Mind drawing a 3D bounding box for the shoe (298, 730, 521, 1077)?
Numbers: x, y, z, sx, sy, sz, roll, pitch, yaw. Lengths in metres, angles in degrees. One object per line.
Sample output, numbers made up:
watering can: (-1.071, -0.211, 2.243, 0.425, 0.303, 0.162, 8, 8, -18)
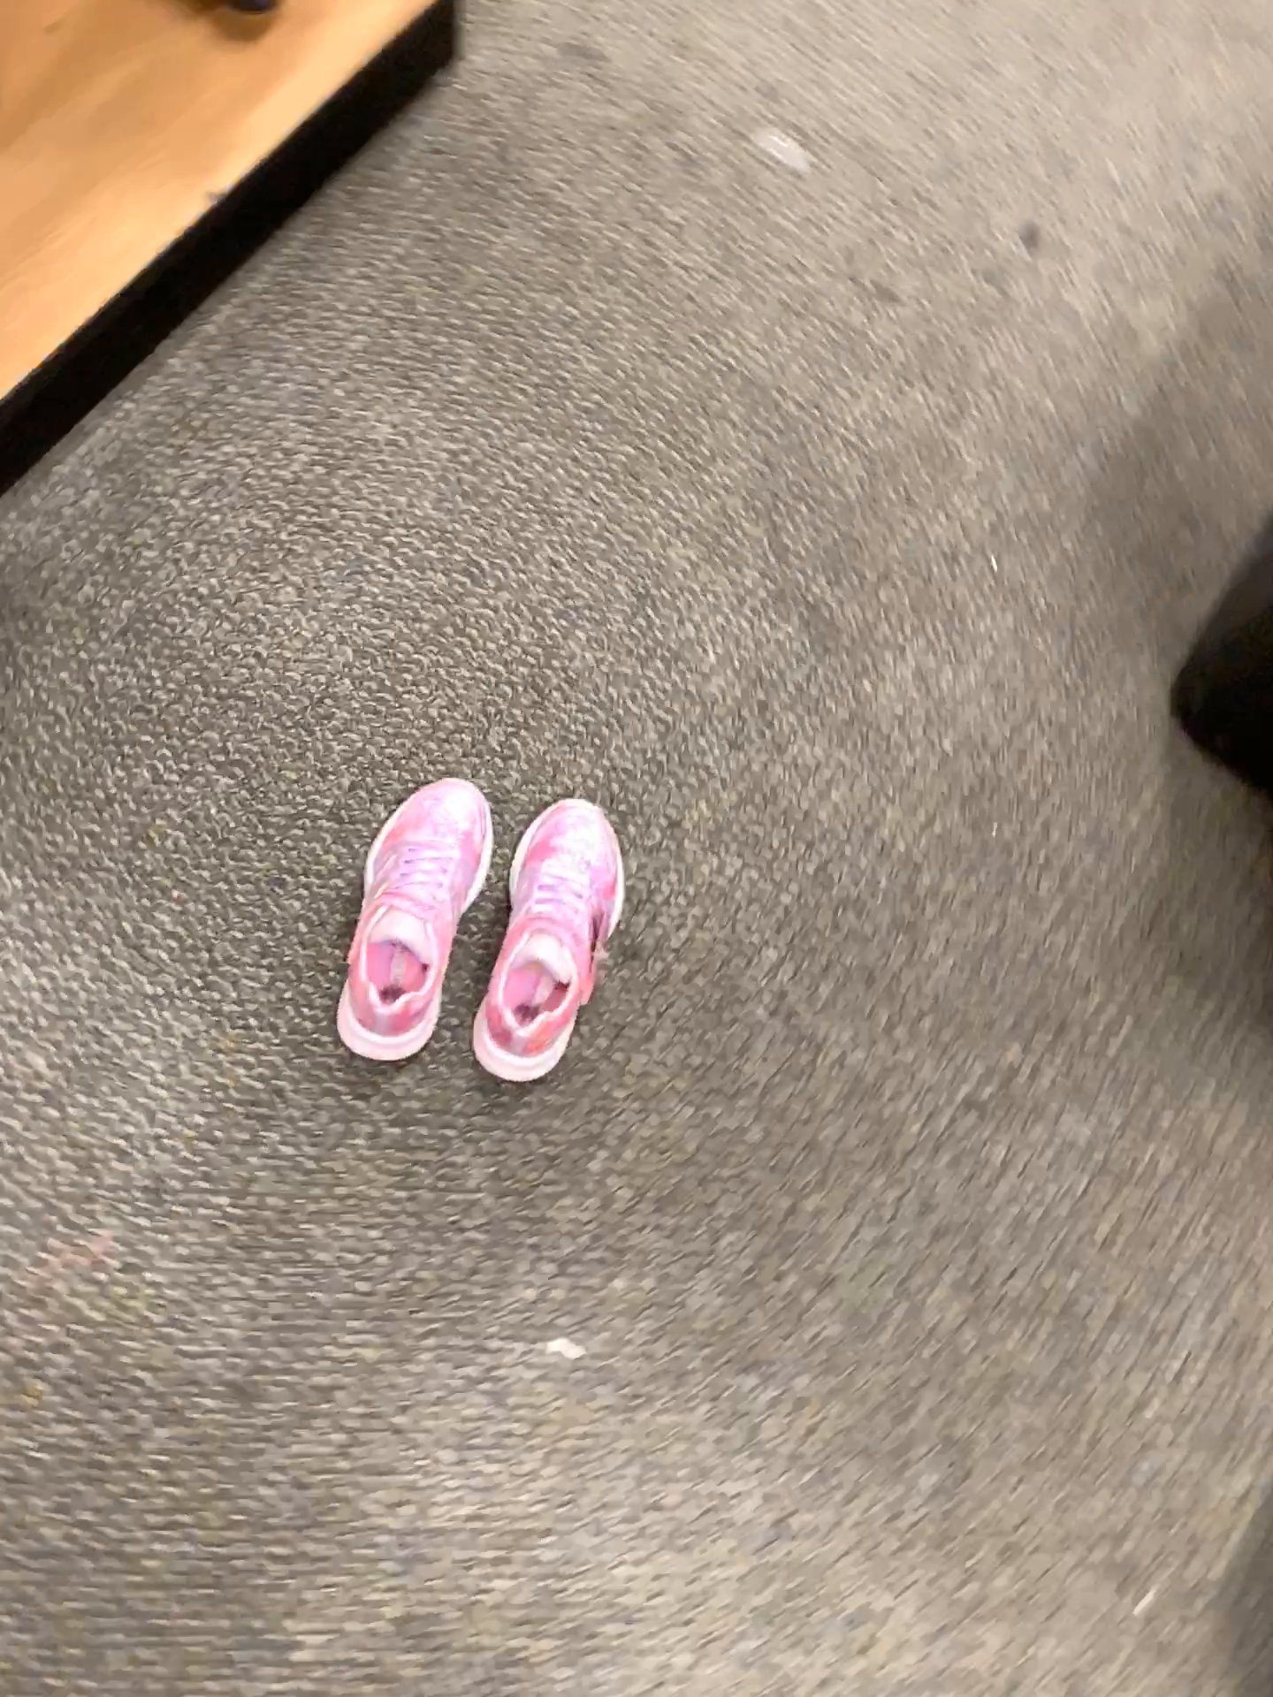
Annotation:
shoe: (-0.148, 0.041, 0.871, 0.086, 0.110, 0.200, 15, 75, -4)

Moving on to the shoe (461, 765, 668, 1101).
shoe: (-0.051, 0.062, 0.896, 0.086, 0.110, 0.200, 15, 75, -4)
